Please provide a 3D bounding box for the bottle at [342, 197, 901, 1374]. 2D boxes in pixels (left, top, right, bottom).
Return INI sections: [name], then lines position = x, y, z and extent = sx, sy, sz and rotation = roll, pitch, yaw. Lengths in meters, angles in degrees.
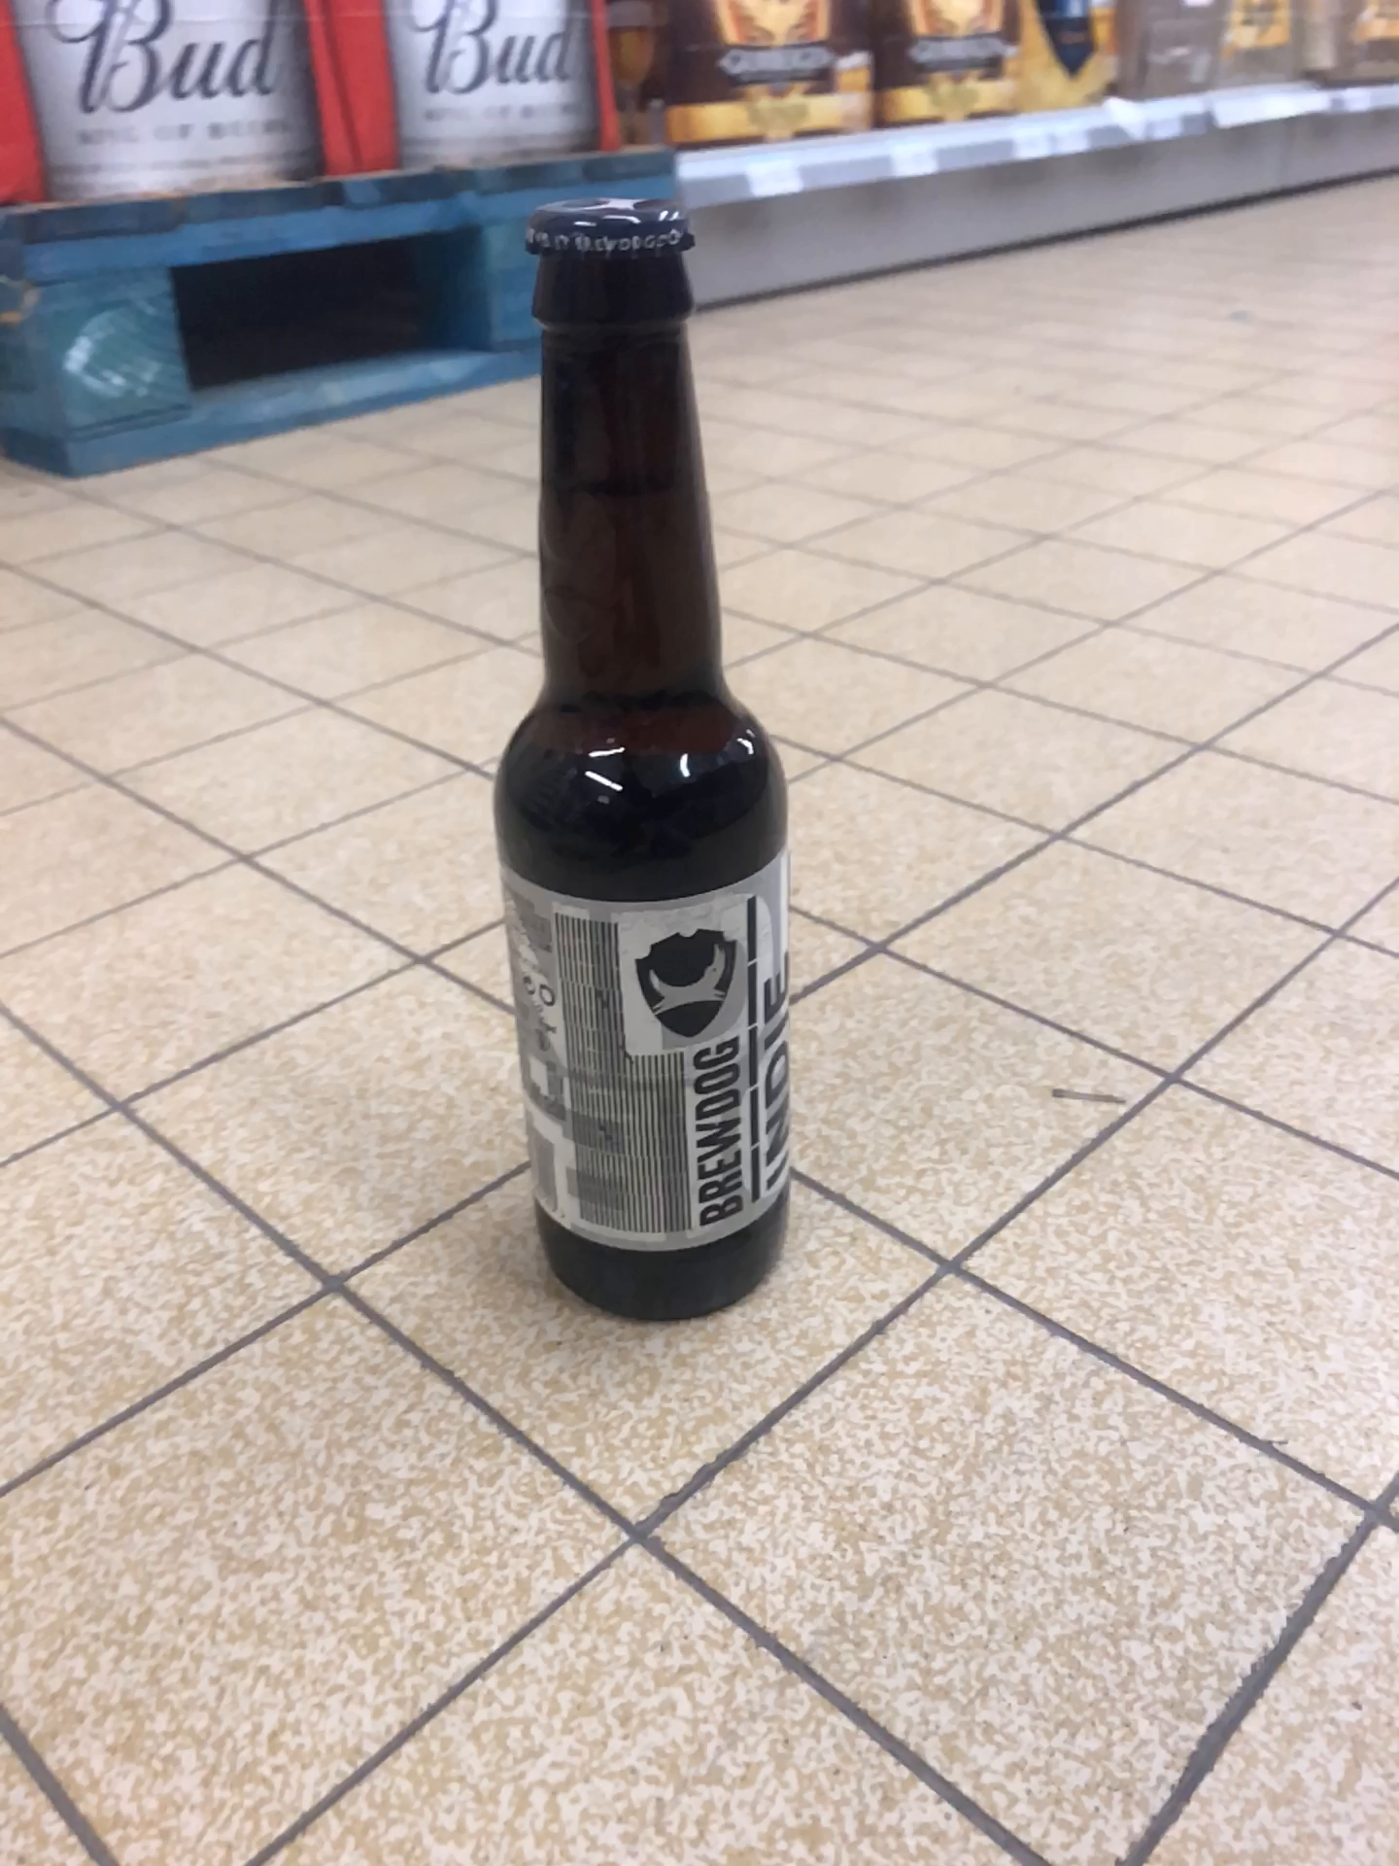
[bottle]
position = -0.008, -0.025, 0.318
extent = 0.070, 0.222, 0.070
rotation = -2, 30, 1
